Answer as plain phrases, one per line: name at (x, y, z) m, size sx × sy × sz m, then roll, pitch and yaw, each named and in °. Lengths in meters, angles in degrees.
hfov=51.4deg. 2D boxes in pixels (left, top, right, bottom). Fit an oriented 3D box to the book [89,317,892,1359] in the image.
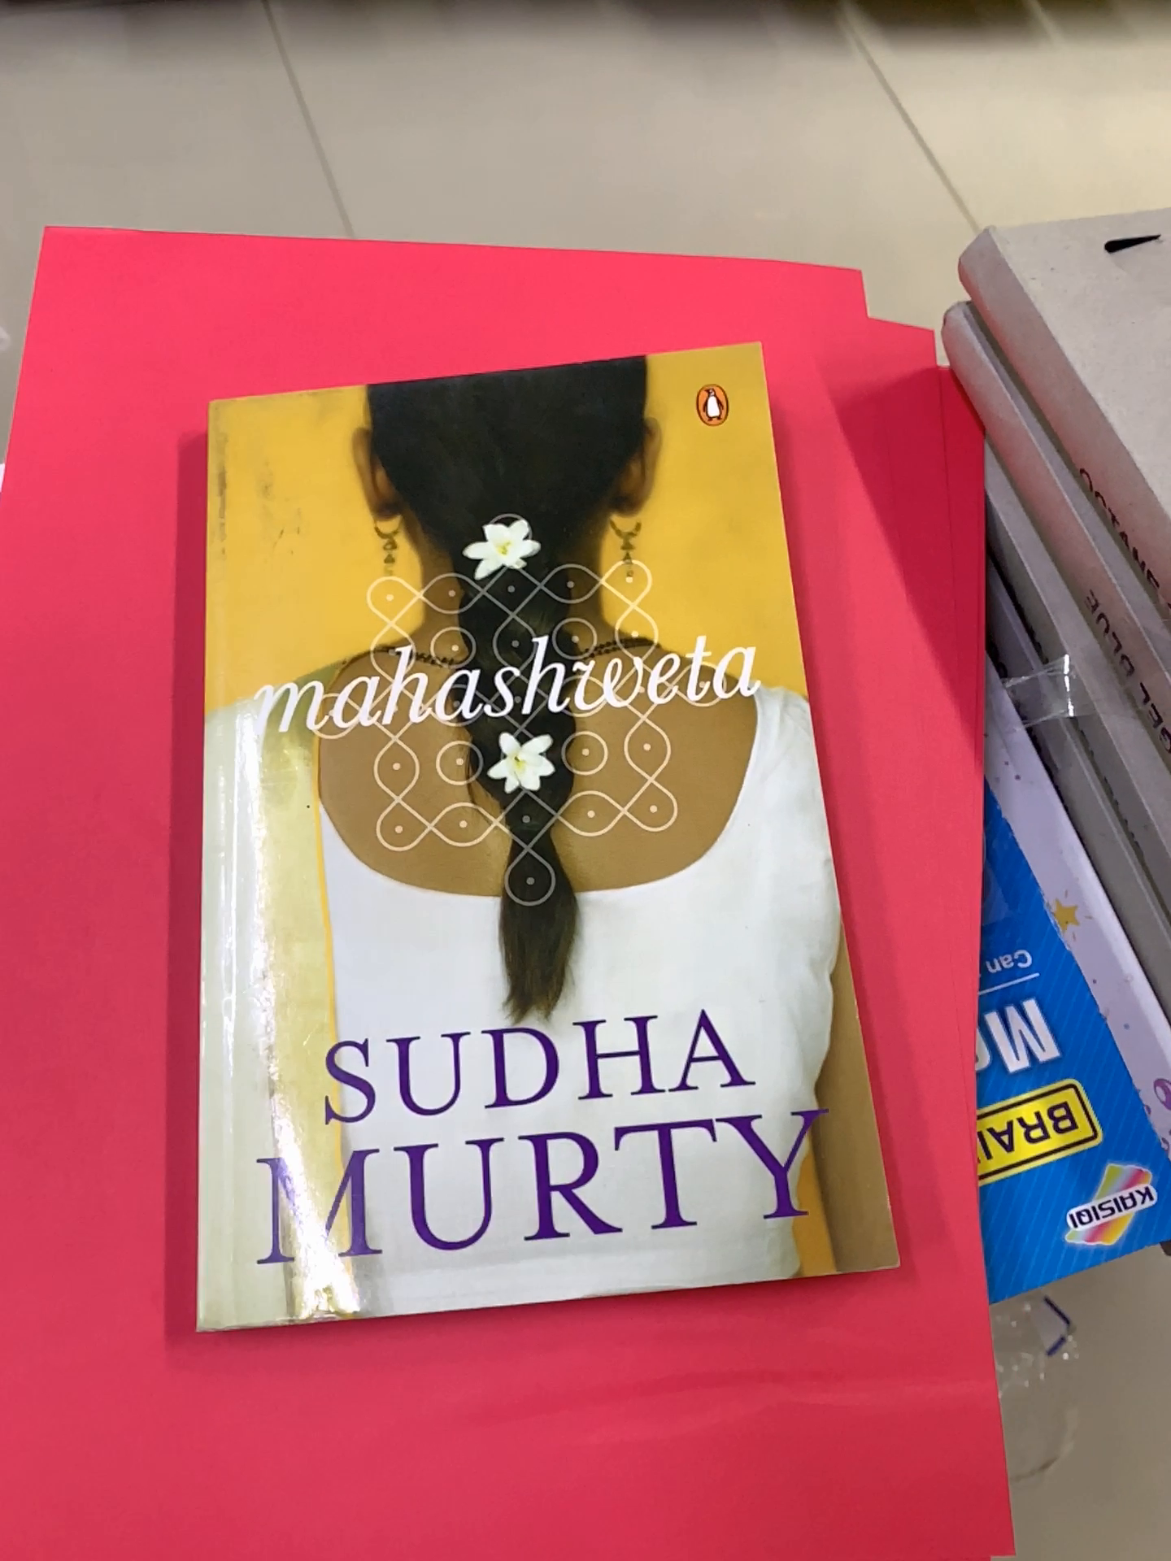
book at (-0.025, 0.002, 0.251) m, size 0.140 × 0.020 × 0.201 m, roll -5°, pitch 73°, yaw 1°
